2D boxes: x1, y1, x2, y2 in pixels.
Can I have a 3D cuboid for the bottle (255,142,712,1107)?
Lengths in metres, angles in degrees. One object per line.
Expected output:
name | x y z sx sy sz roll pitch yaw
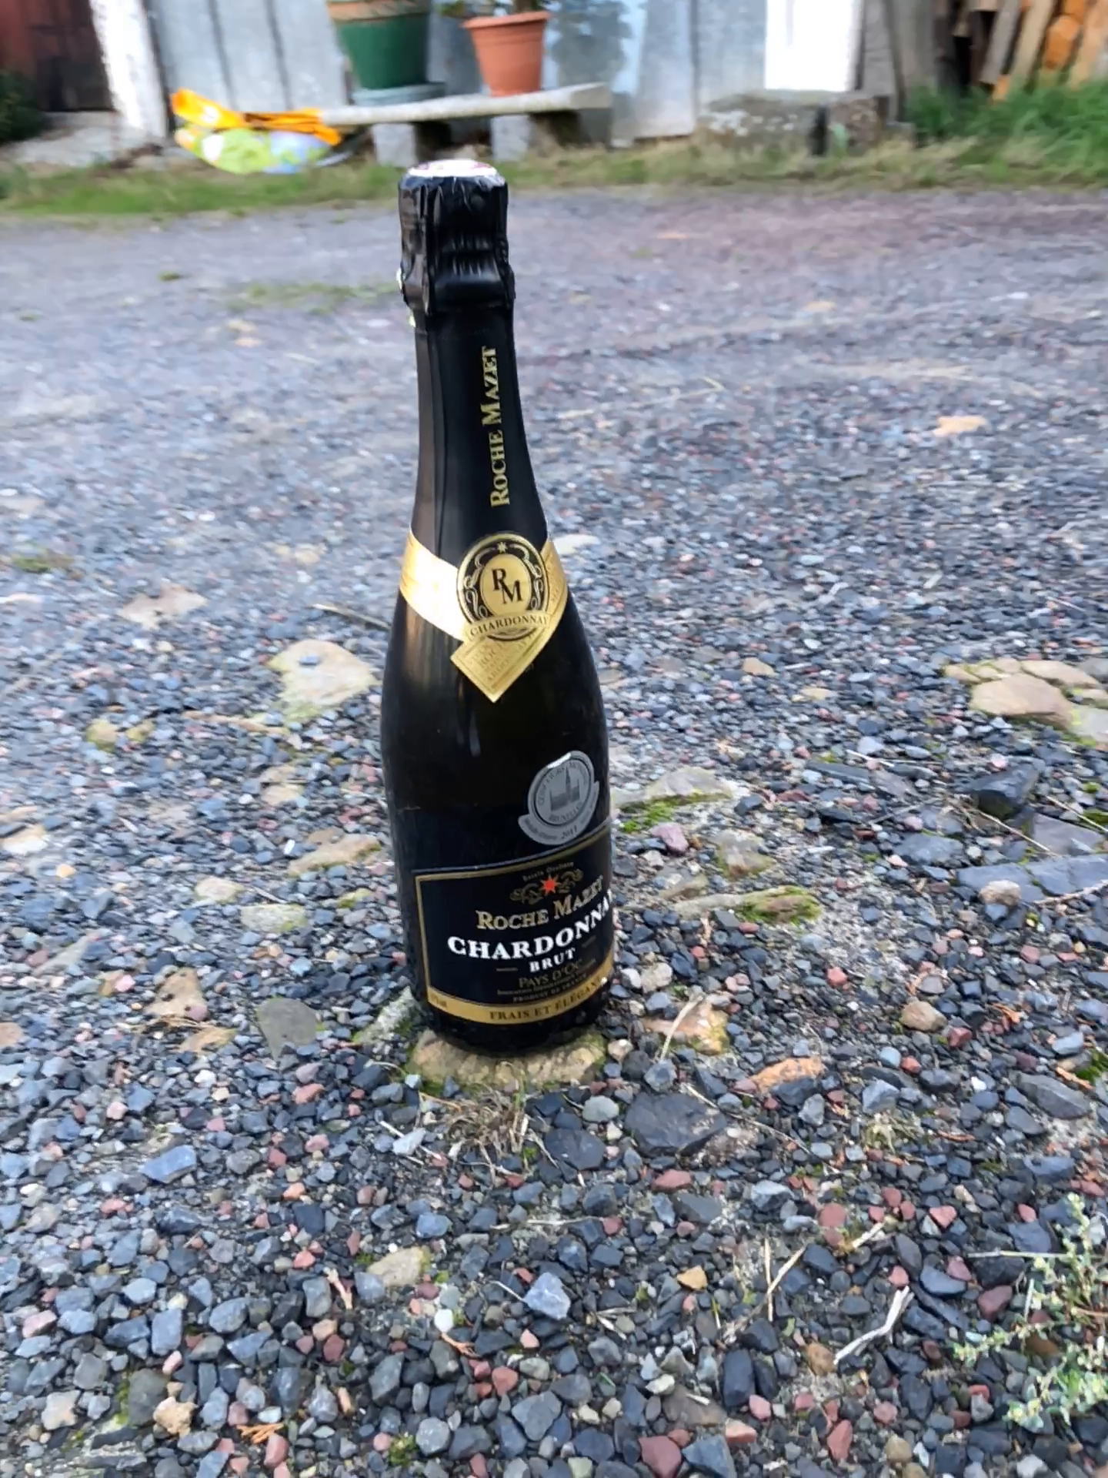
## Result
bottle | -0.021 -0.033 0.417 0.100 0.298 0.100 -1 29 1
